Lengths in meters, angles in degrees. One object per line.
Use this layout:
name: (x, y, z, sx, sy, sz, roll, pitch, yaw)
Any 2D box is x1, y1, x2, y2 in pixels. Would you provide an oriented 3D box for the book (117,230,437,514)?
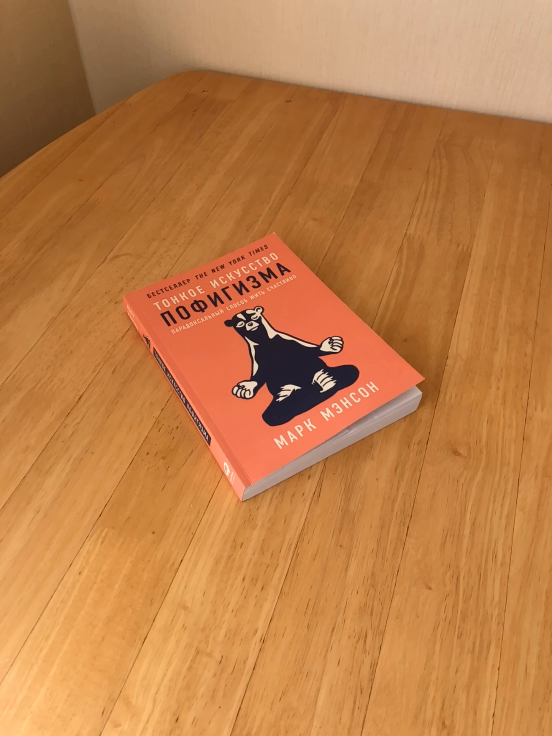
book: (-0.007, -0.013, 0.444, 0.143, 0.033, 0.197, -25, 53, -20)
